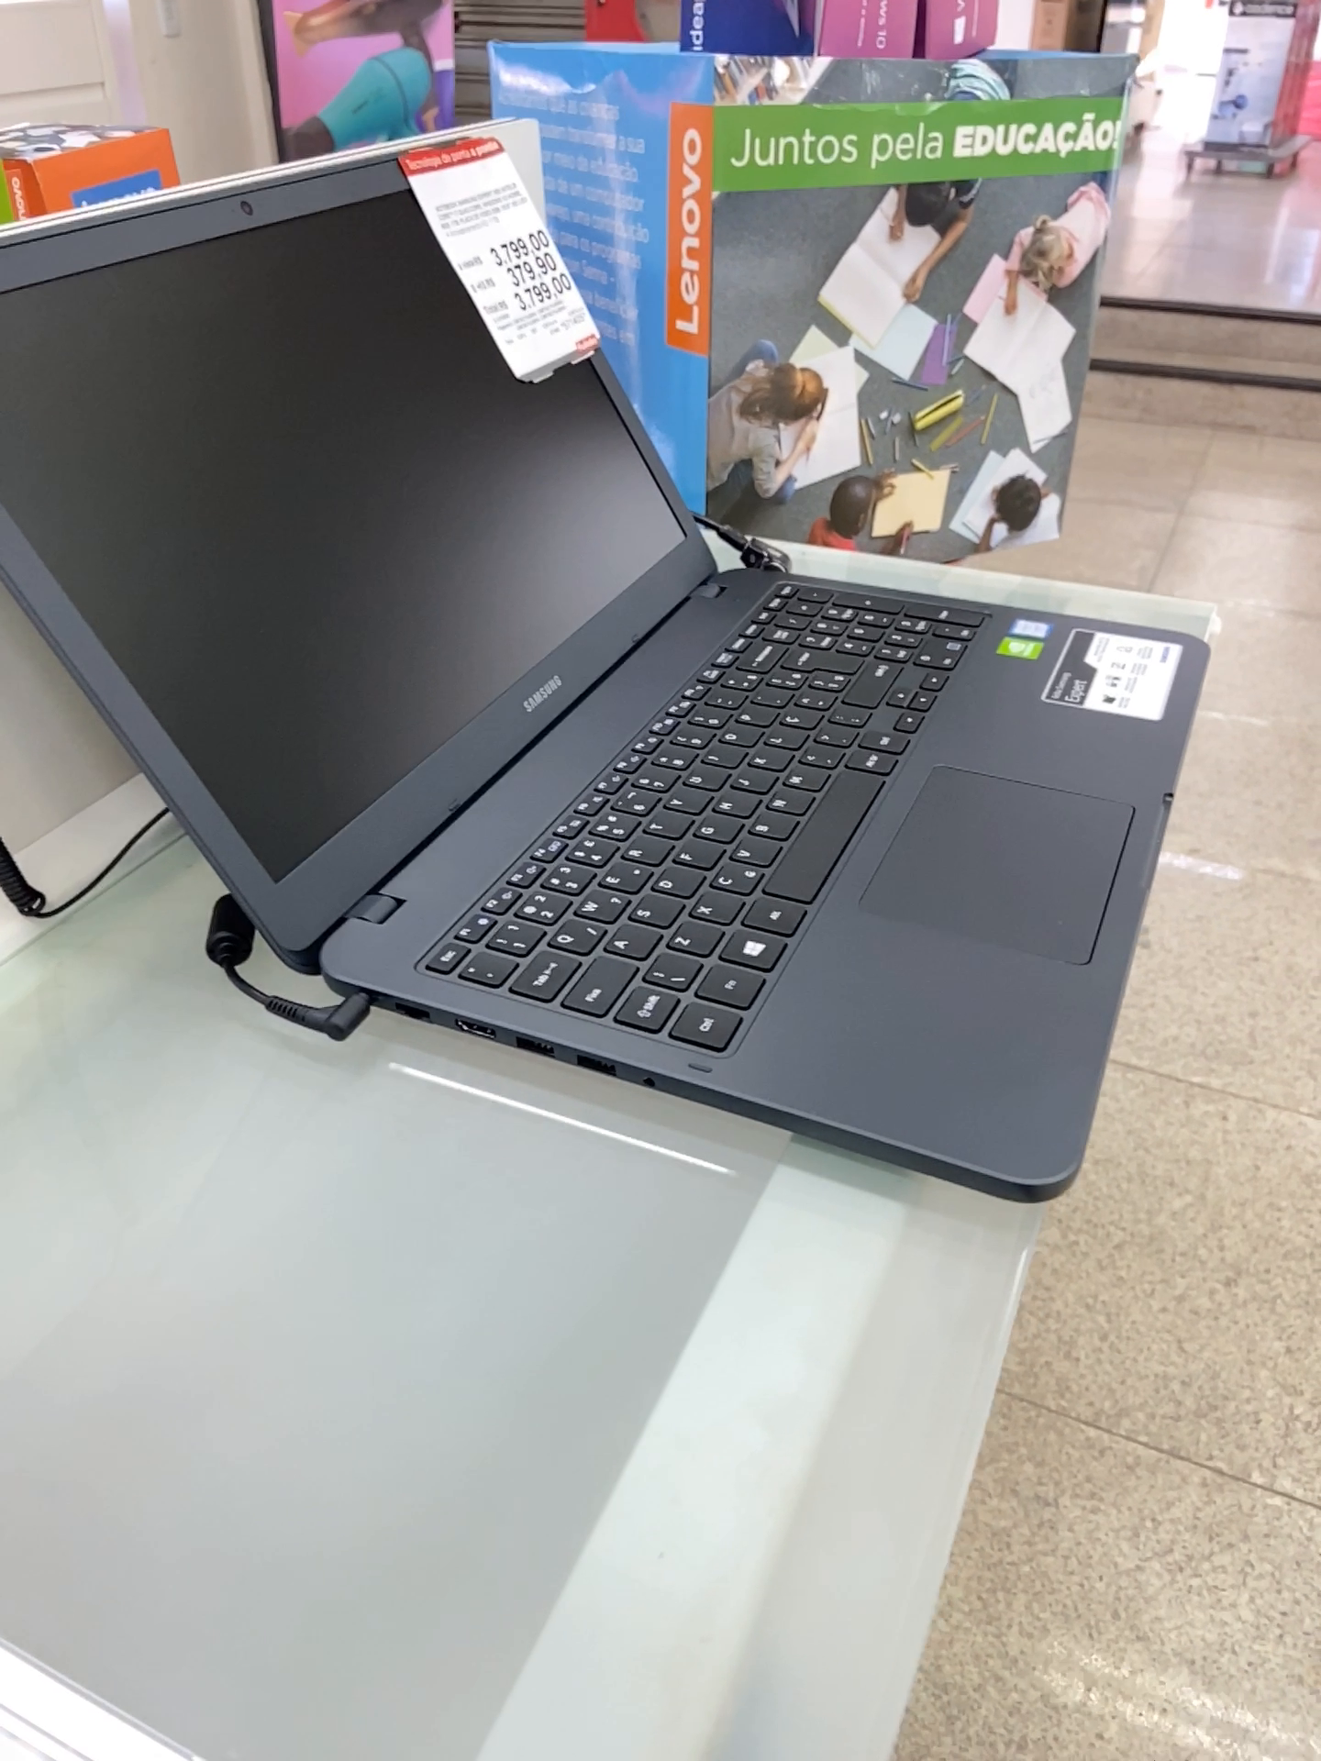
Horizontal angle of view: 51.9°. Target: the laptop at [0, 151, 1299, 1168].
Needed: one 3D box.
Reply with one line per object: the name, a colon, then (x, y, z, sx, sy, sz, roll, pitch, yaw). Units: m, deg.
laptop: (0.010, -0.141, 0.513, 0.369, 0.192, 0.373, 14, 37, 20)
